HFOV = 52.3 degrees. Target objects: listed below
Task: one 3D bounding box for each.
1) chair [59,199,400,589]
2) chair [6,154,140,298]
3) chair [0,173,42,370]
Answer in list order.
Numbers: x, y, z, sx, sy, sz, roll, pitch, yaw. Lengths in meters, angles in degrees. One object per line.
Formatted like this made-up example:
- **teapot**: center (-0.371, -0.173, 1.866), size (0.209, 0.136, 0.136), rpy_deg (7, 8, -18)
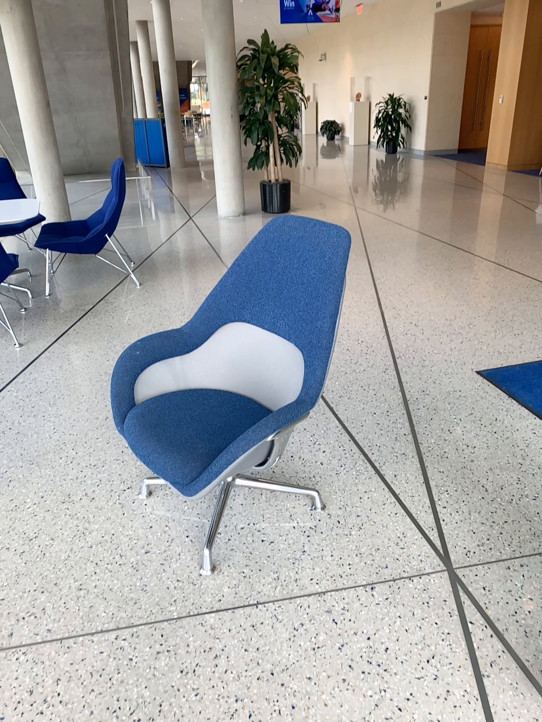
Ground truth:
- **chair**: center (-0.128, 0.013, 1.892), size (0.786, 0.934, 0.727), rpy_deg (-19, 29, -32)
- **chair**: center (-1.500, -1.116, 4.413), size (0.774, 0.914, 0.900), rpy_deg (-7, 25, -10)
- **chair**: center (-1.933, -0.577, 3.290), size (0.804, 0.914, 0.779), rpy_deg (-8, 25, -12)
